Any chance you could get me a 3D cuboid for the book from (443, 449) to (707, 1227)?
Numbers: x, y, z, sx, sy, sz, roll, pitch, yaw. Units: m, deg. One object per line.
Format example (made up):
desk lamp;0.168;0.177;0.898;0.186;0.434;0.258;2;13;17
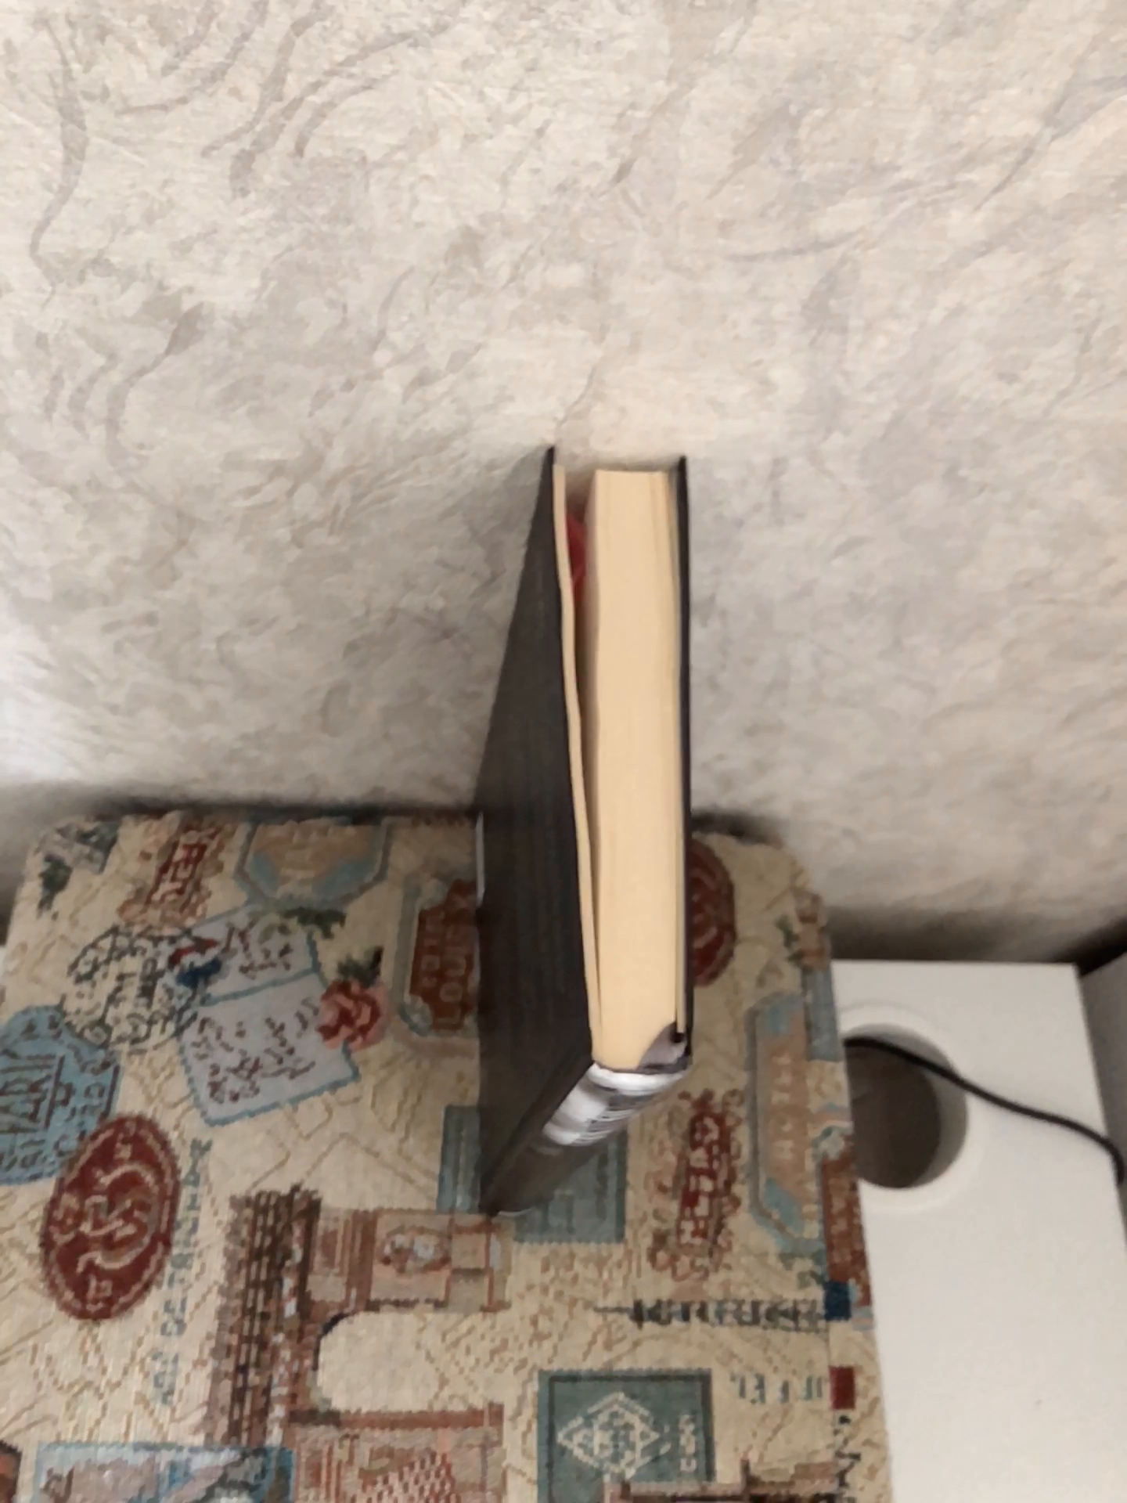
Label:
book;-0.004;0.042;0.326;0.035;0.201;0.138;5;65;-6
